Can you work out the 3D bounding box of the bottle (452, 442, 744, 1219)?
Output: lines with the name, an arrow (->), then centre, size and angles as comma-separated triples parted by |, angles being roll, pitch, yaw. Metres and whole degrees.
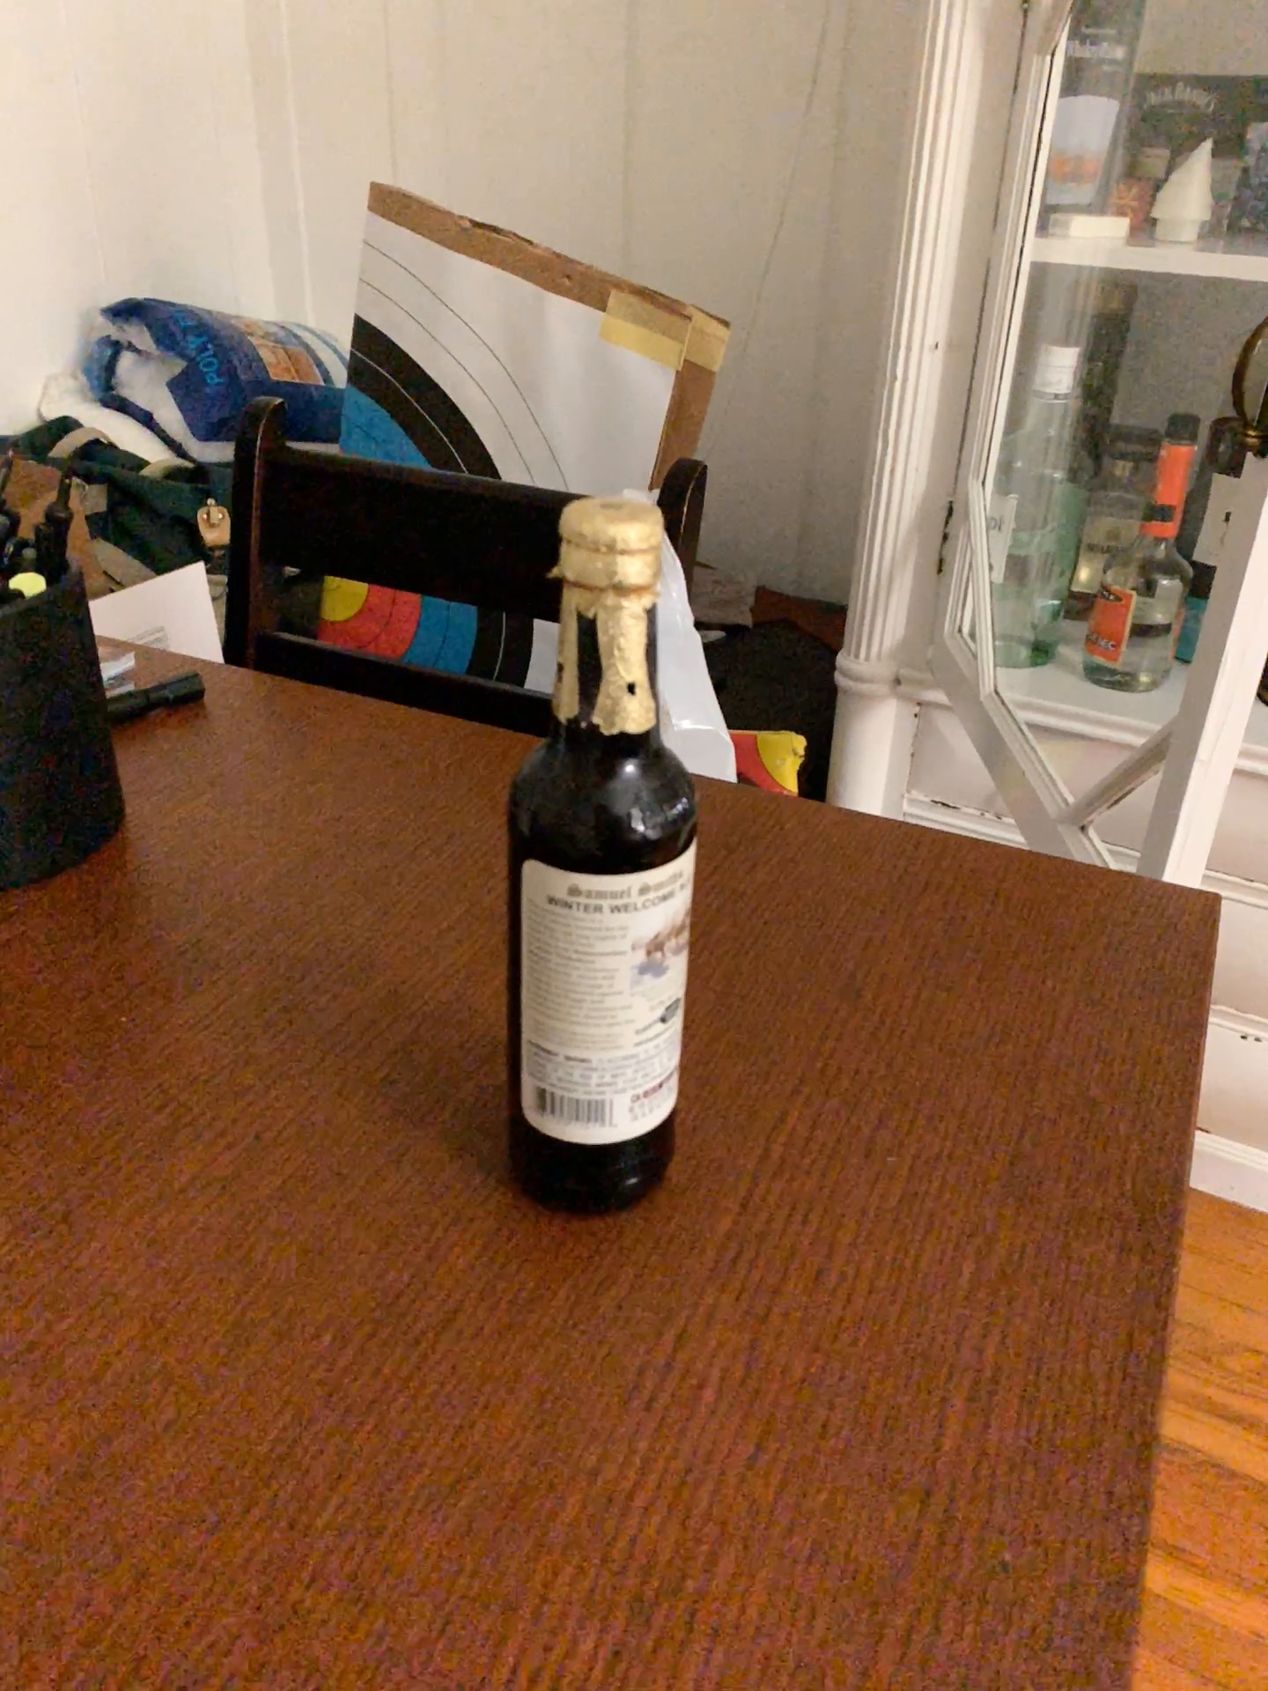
bottle -> -0.011, 0.003, 0.397 | 0.070, 0.229, 0.070 | 2, 30, -1
